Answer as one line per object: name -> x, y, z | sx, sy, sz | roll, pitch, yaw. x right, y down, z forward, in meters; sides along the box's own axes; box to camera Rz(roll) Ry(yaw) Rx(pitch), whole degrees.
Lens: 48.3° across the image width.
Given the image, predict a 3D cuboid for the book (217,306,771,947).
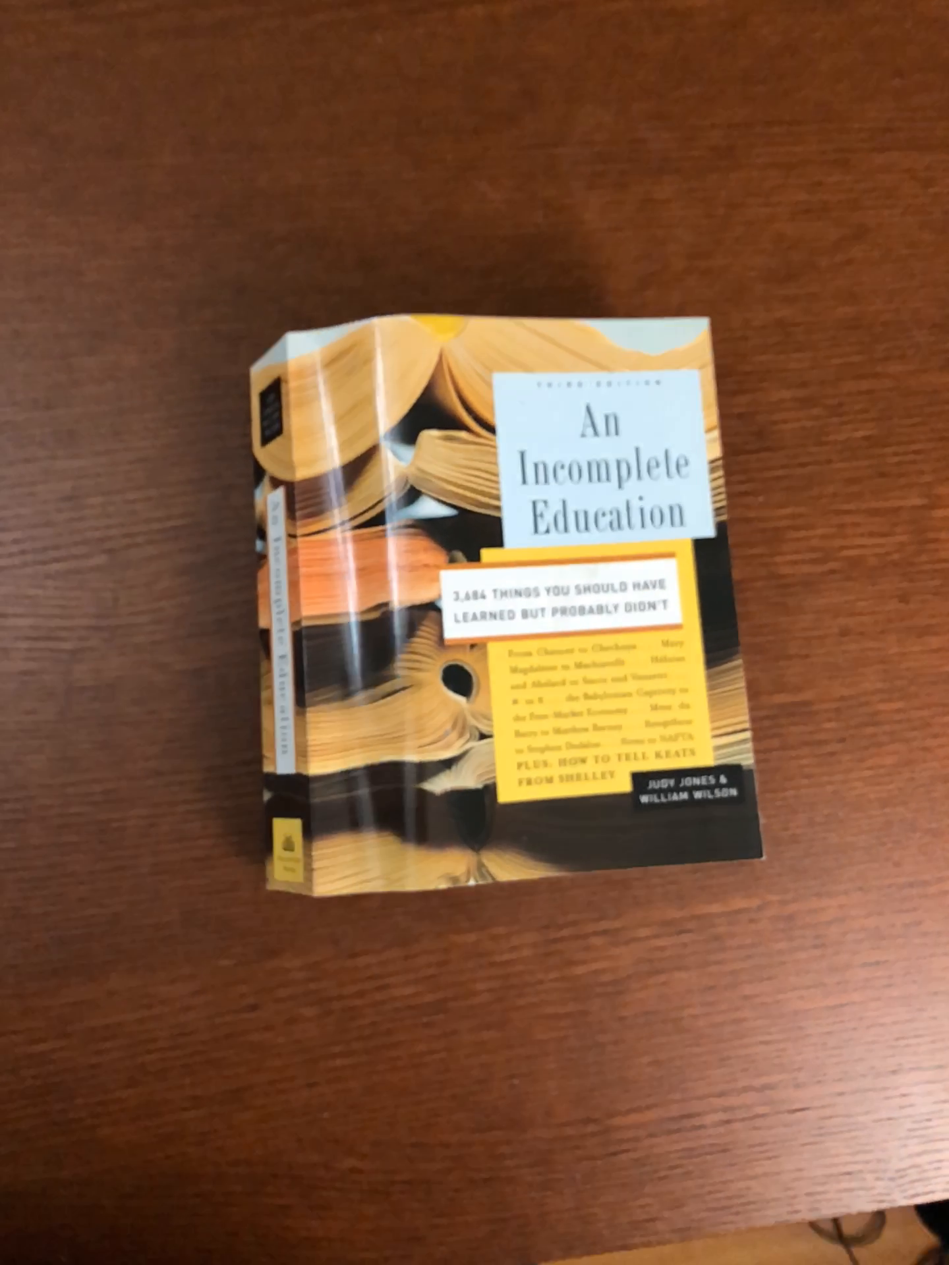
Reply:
book -> 0.005, -0.010, 0.463 | 0.210, 0.060, 0.250 | -4, 84, -14
